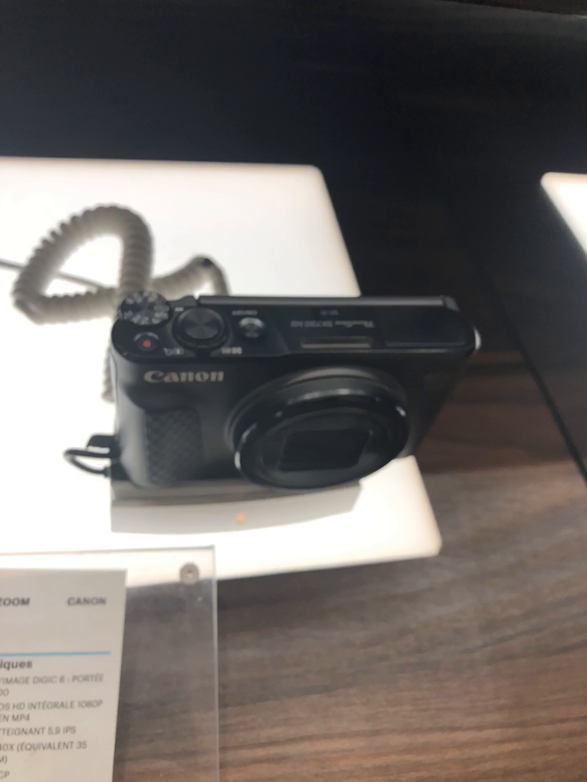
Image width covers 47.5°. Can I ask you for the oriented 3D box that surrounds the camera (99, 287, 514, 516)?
[{"bbox_3d":[-0.001,0.004,0.215,0.114,0.070,0.034,-2,52,-13],"label":"camera"}]
